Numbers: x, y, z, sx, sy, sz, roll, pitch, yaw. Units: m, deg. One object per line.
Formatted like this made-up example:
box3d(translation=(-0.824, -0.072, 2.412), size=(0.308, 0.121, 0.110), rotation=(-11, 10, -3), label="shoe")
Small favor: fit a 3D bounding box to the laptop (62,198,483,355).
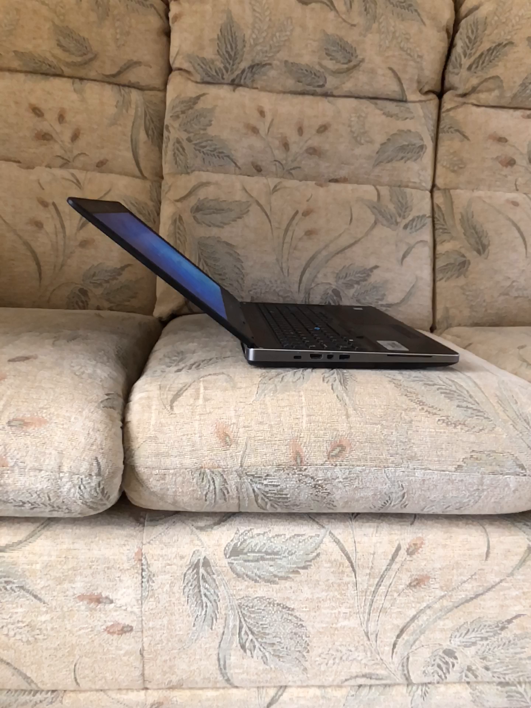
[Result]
box3d(translation=(-0.008, -0.124, 0.826), size=(0.451, 0.157, 0.356), rotation=(2, 15, -6), label="laptop")
